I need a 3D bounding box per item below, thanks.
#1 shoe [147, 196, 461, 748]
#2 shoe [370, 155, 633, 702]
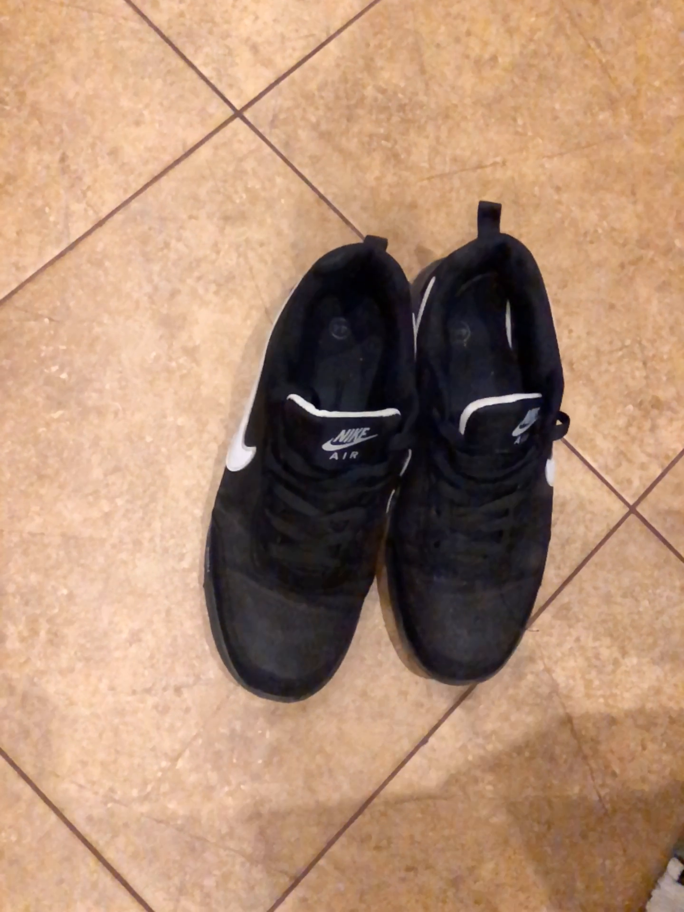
[{"bbox_3d":[-0.020,0.011,0.446,0.110,0.120,0.270,12,79,-5],"label":"shoe"},{"bbox_3d":[0.091,-0.012,0.473,0.120,0.120,0.300,3,79,-6],"label":"shoe"}]
